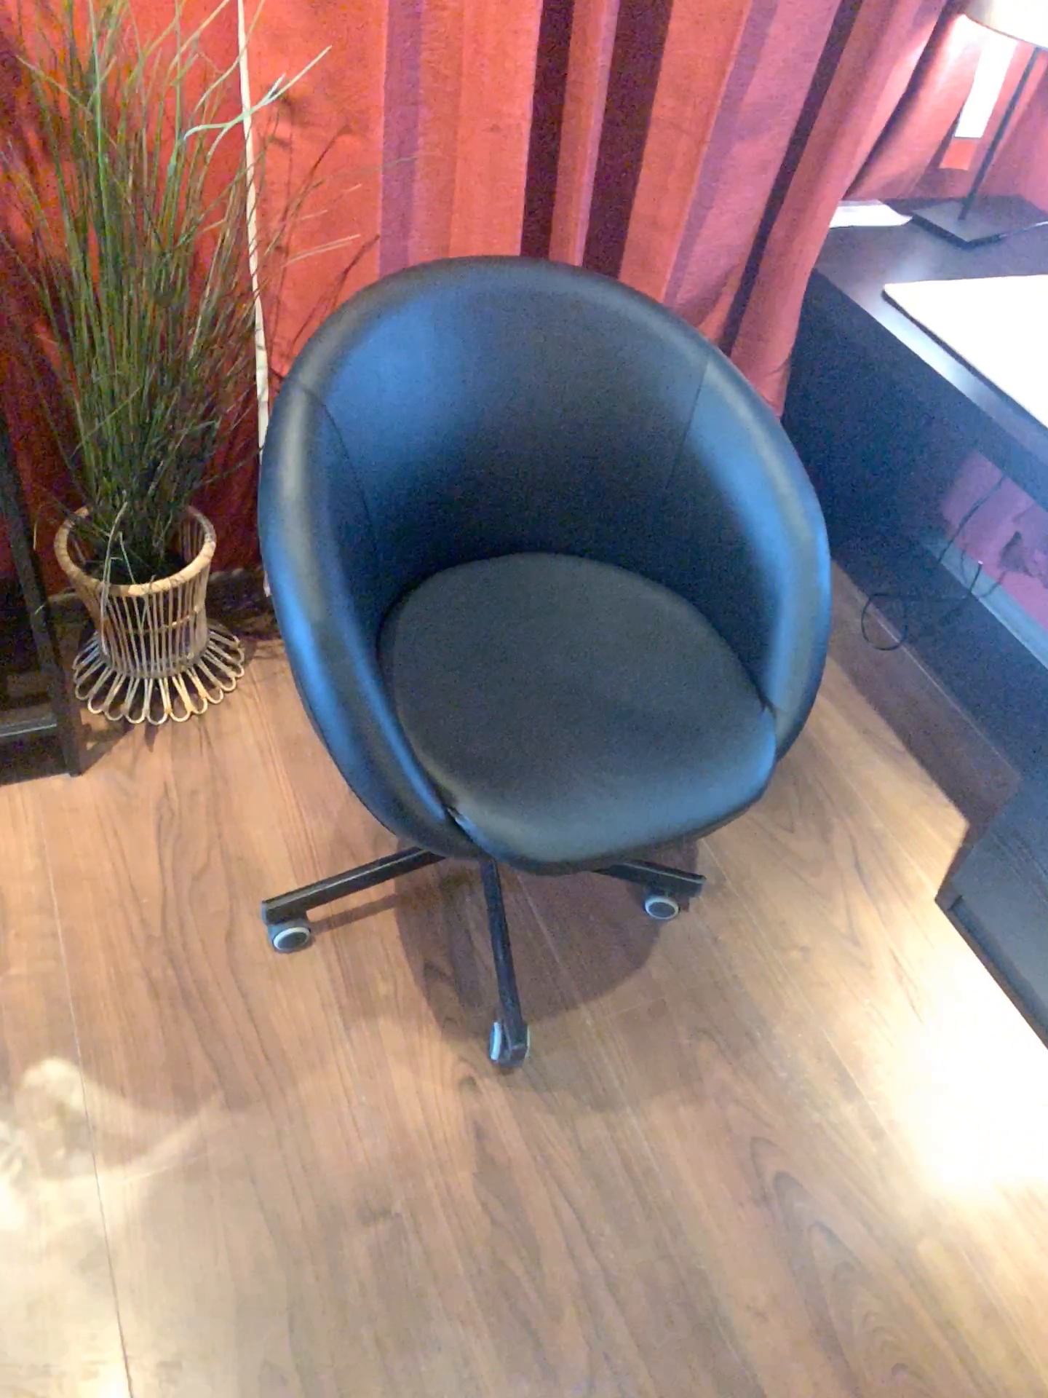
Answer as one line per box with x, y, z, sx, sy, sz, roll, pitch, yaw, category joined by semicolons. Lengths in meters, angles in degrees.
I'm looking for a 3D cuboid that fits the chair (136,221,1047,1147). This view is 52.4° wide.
-0.014;-0.042;1.301;0.671;0.757;0.672;-14;51;-24;chair
